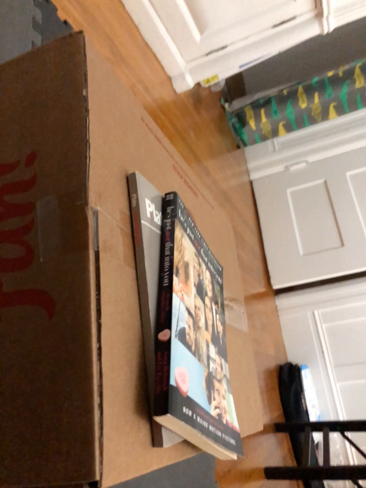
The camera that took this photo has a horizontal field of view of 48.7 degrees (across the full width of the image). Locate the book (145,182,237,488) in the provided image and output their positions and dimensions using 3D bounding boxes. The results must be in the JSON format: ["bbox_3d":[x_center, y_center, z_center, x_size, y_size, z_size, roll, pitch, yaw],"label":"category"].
[{"bbox_3d":[0.013,0.077,0.362,0.150,0.010,0.231,55,27,-46],"label":"book"}]
